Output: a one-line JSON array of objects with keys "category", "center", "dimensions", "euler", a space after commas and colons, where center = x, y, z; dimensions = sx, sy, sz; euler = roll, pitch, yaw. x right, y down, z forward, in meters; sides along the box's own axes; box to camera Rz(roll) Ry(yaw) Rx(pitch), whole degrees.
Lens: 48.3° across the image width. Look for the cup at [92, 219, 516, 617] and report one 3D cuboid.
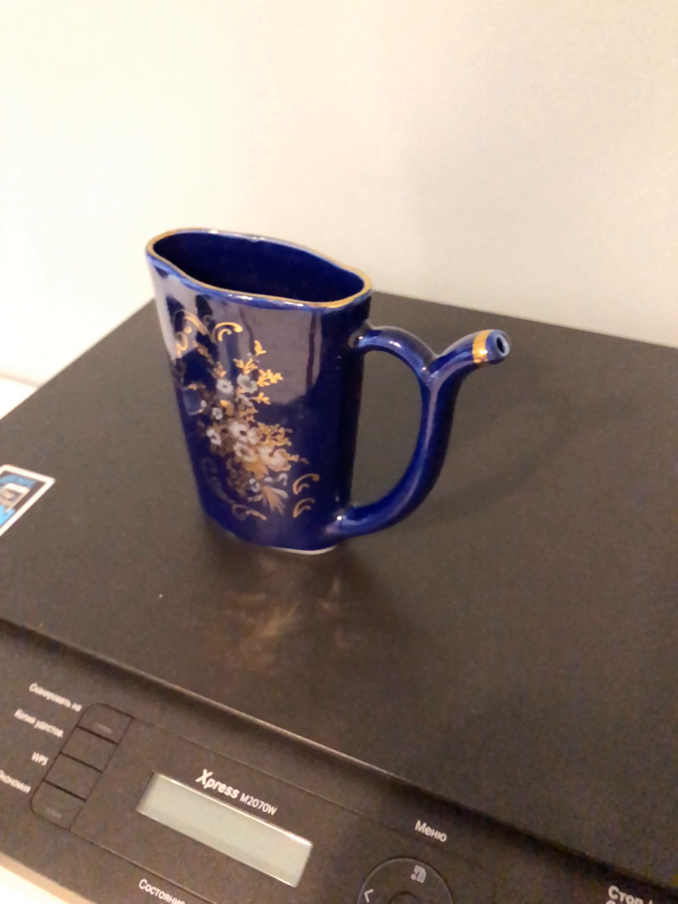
[{"category": "cup", "center": [-0.012, -0.014, 0.282], "dimensions": [0.130, 0.109, 0.050], "euler": [17, 43, 20]}]
